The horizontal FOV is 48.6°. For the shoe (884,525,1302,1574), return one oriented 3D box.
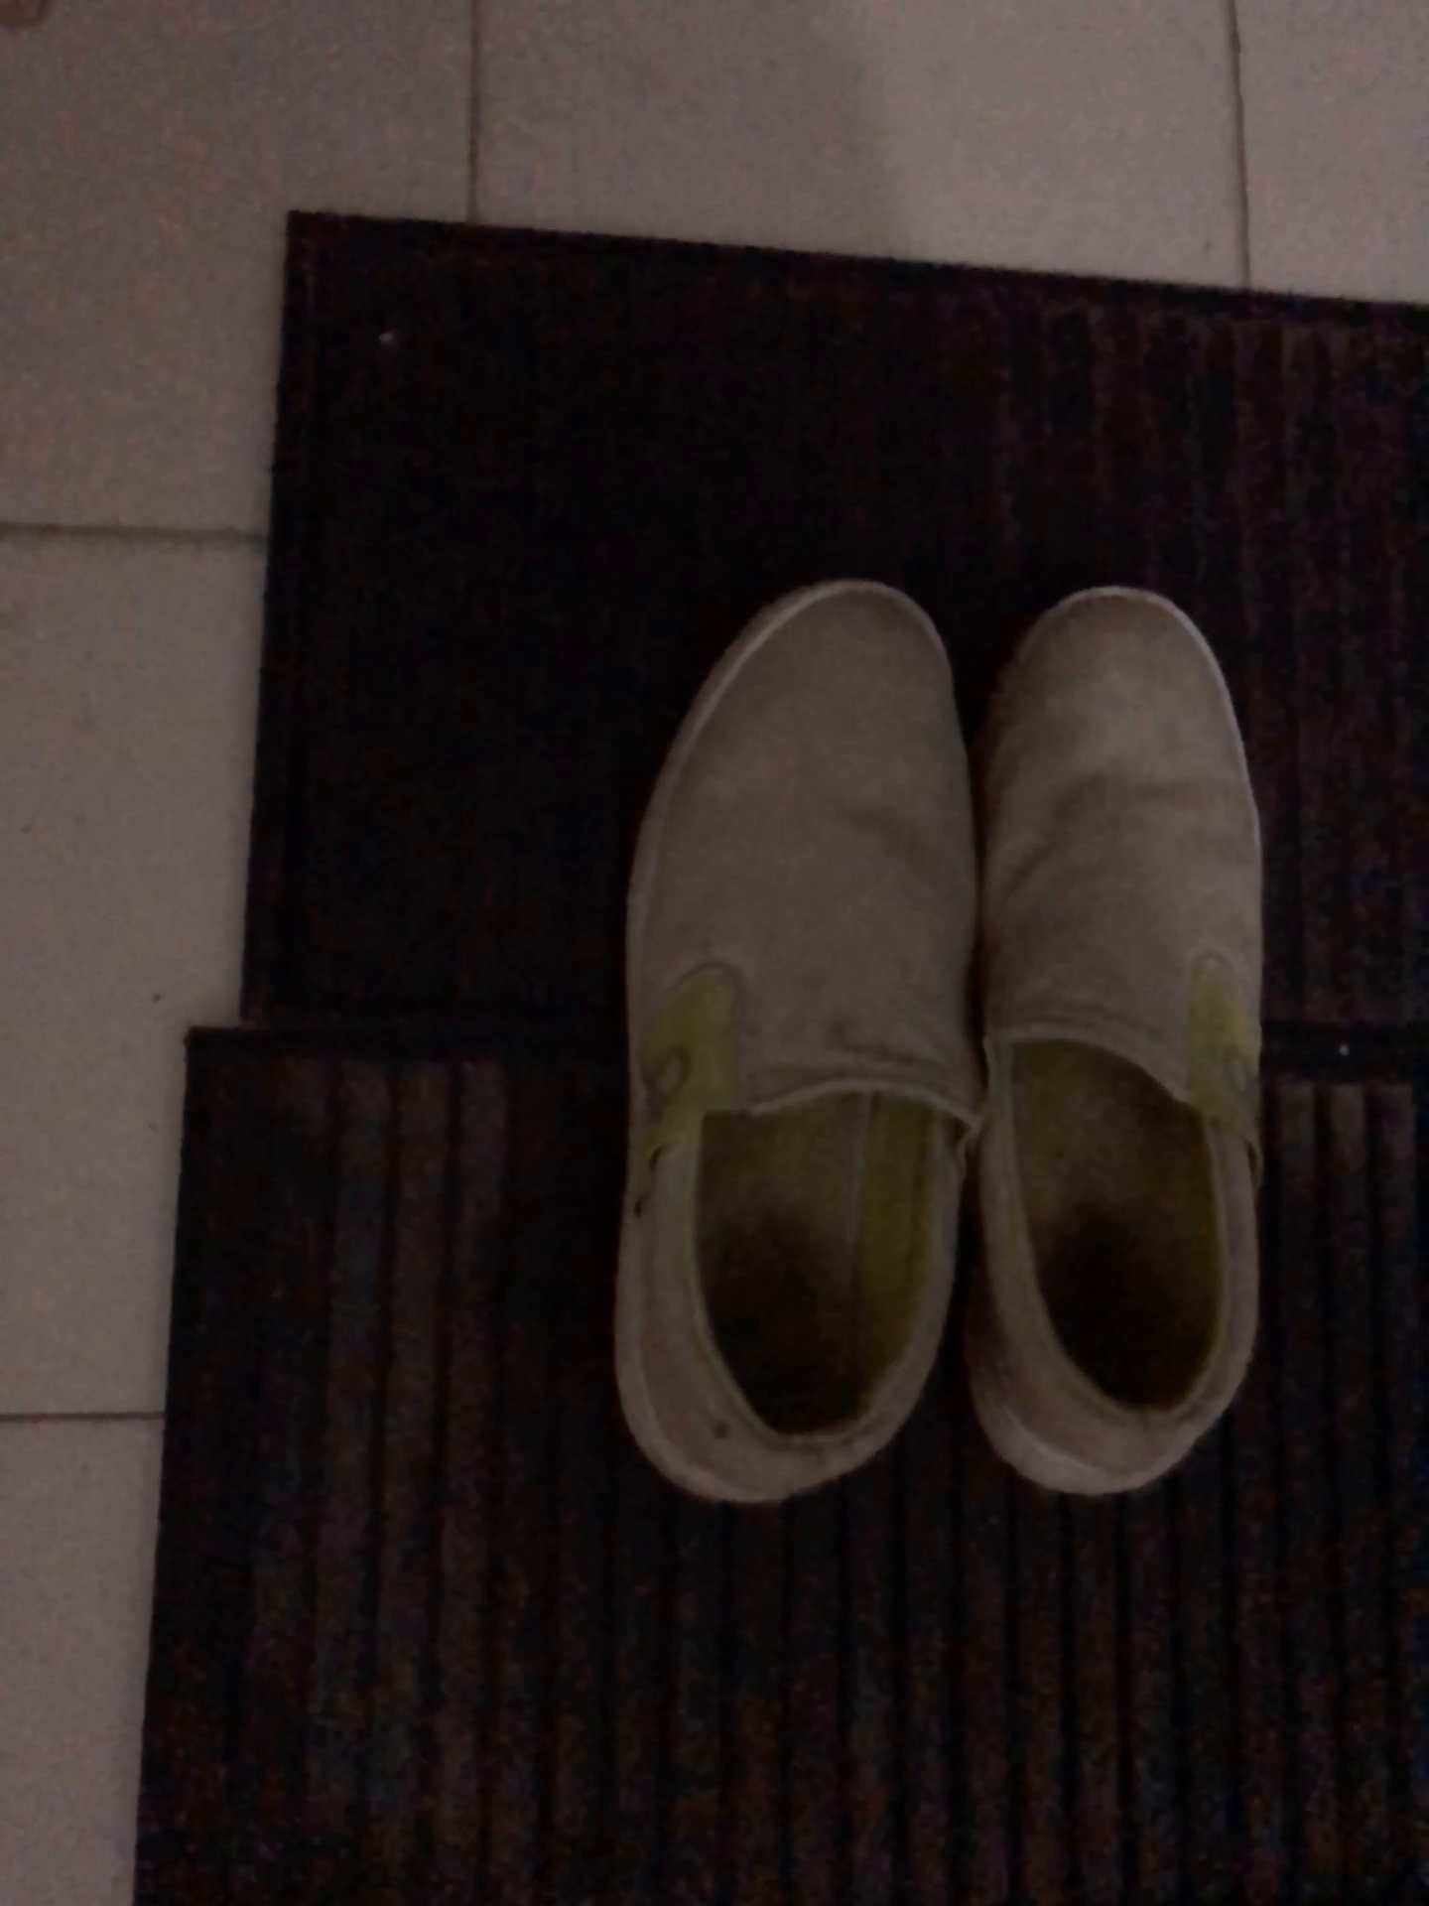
[{"bbox_3d":[0.131,0.031,0.551,0.110,0.090,0.330,5,79,-6],"label":"shoe"}]

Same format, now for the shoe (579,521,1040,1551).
[{"bbox_3d":[0.029,0.026,0.516,0.120,0.090,0.300,5,79,-6],"label":"shoe"}]
